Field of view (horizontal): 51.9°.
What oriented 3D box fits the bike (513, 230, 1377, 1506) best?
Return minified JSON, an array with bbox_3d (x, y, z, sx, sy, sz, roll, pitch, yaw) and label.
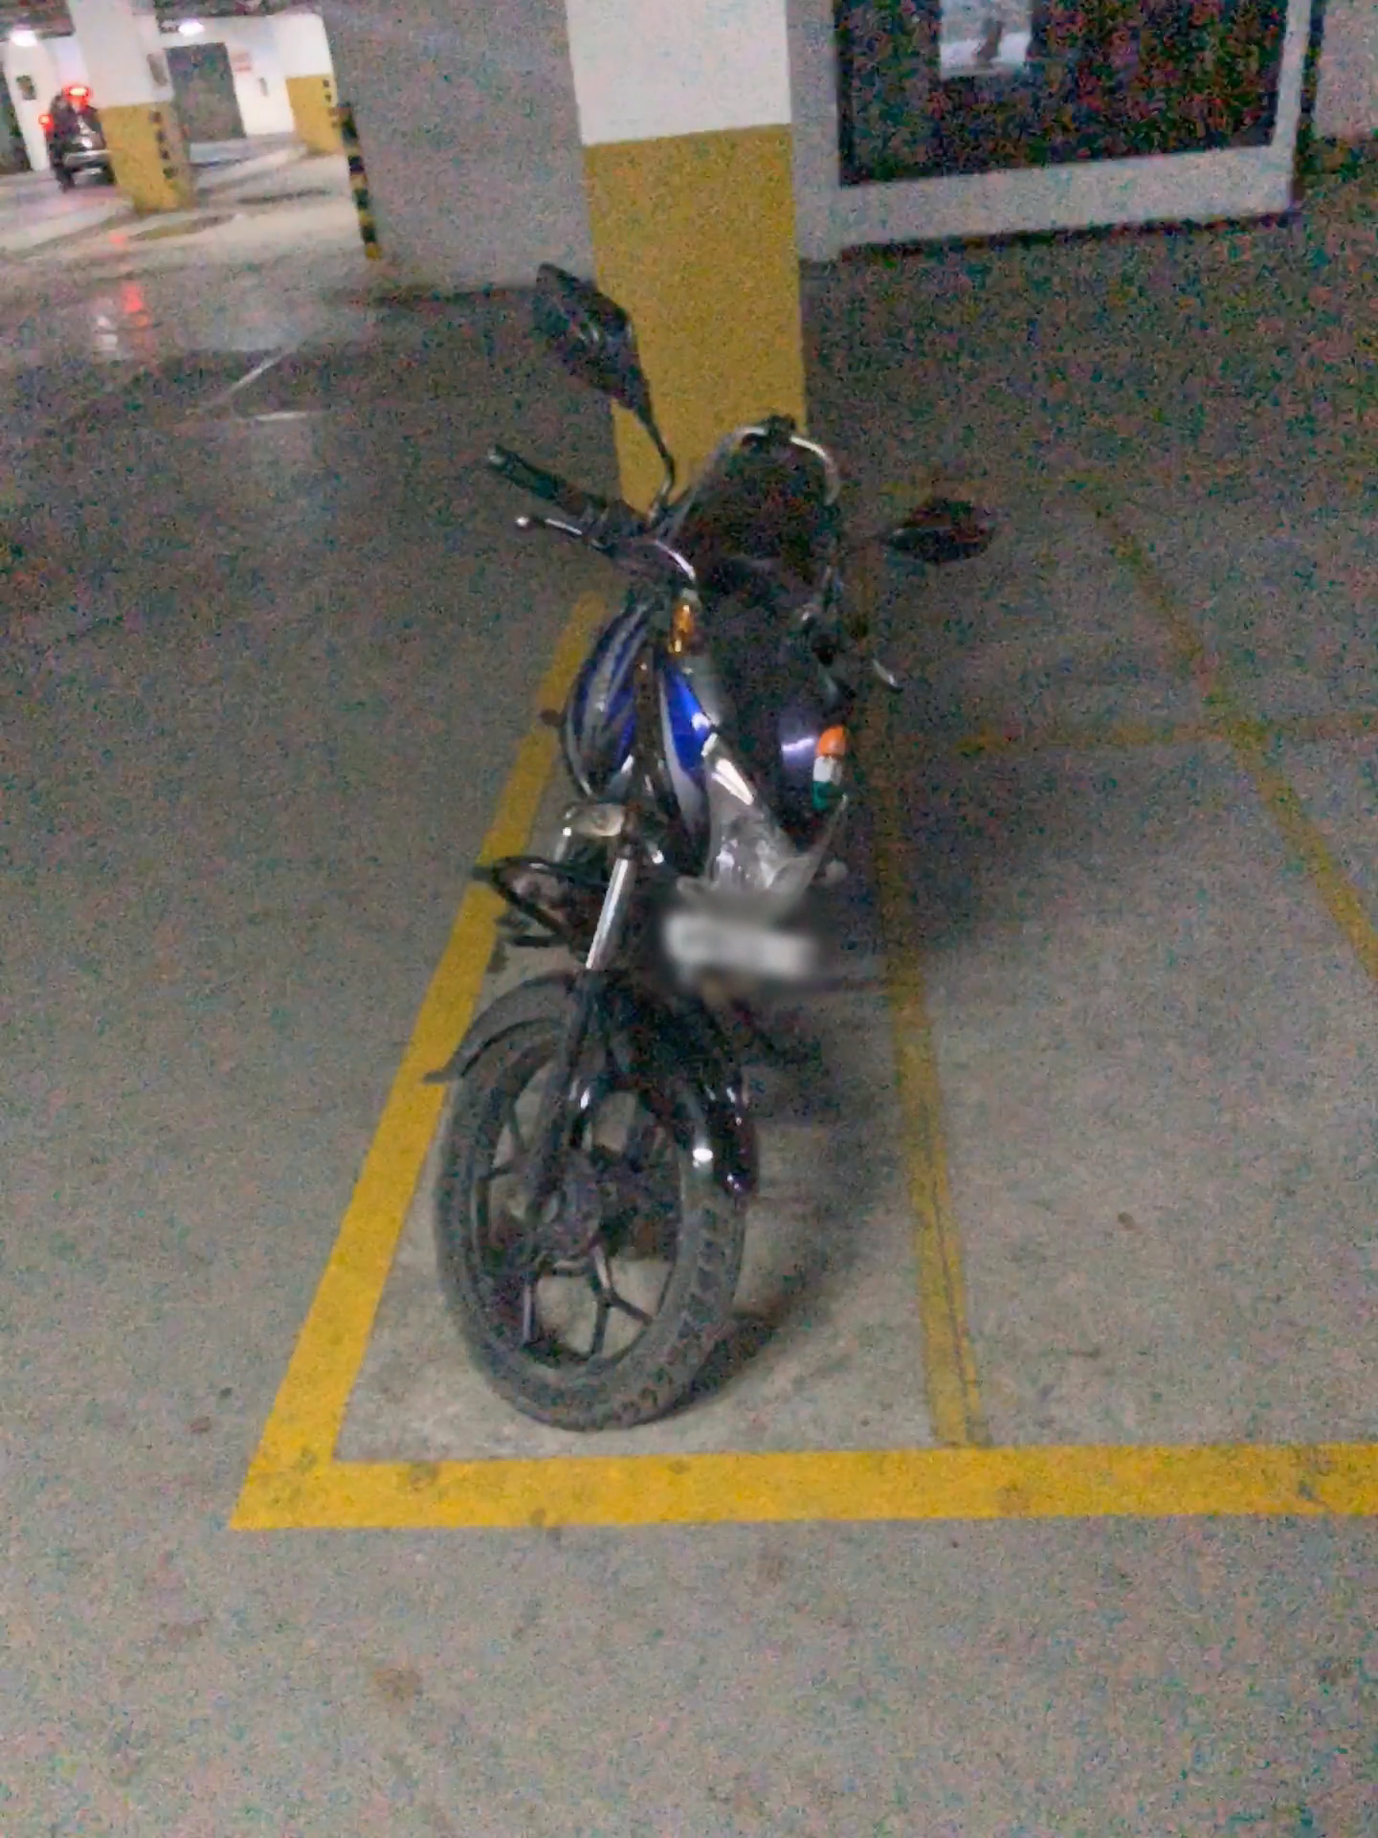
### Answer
[{"bbox_3d":[0.320,-0.359,2.415,0.850,1.205,2.223,-4,31,3],"label":"bike"}]
